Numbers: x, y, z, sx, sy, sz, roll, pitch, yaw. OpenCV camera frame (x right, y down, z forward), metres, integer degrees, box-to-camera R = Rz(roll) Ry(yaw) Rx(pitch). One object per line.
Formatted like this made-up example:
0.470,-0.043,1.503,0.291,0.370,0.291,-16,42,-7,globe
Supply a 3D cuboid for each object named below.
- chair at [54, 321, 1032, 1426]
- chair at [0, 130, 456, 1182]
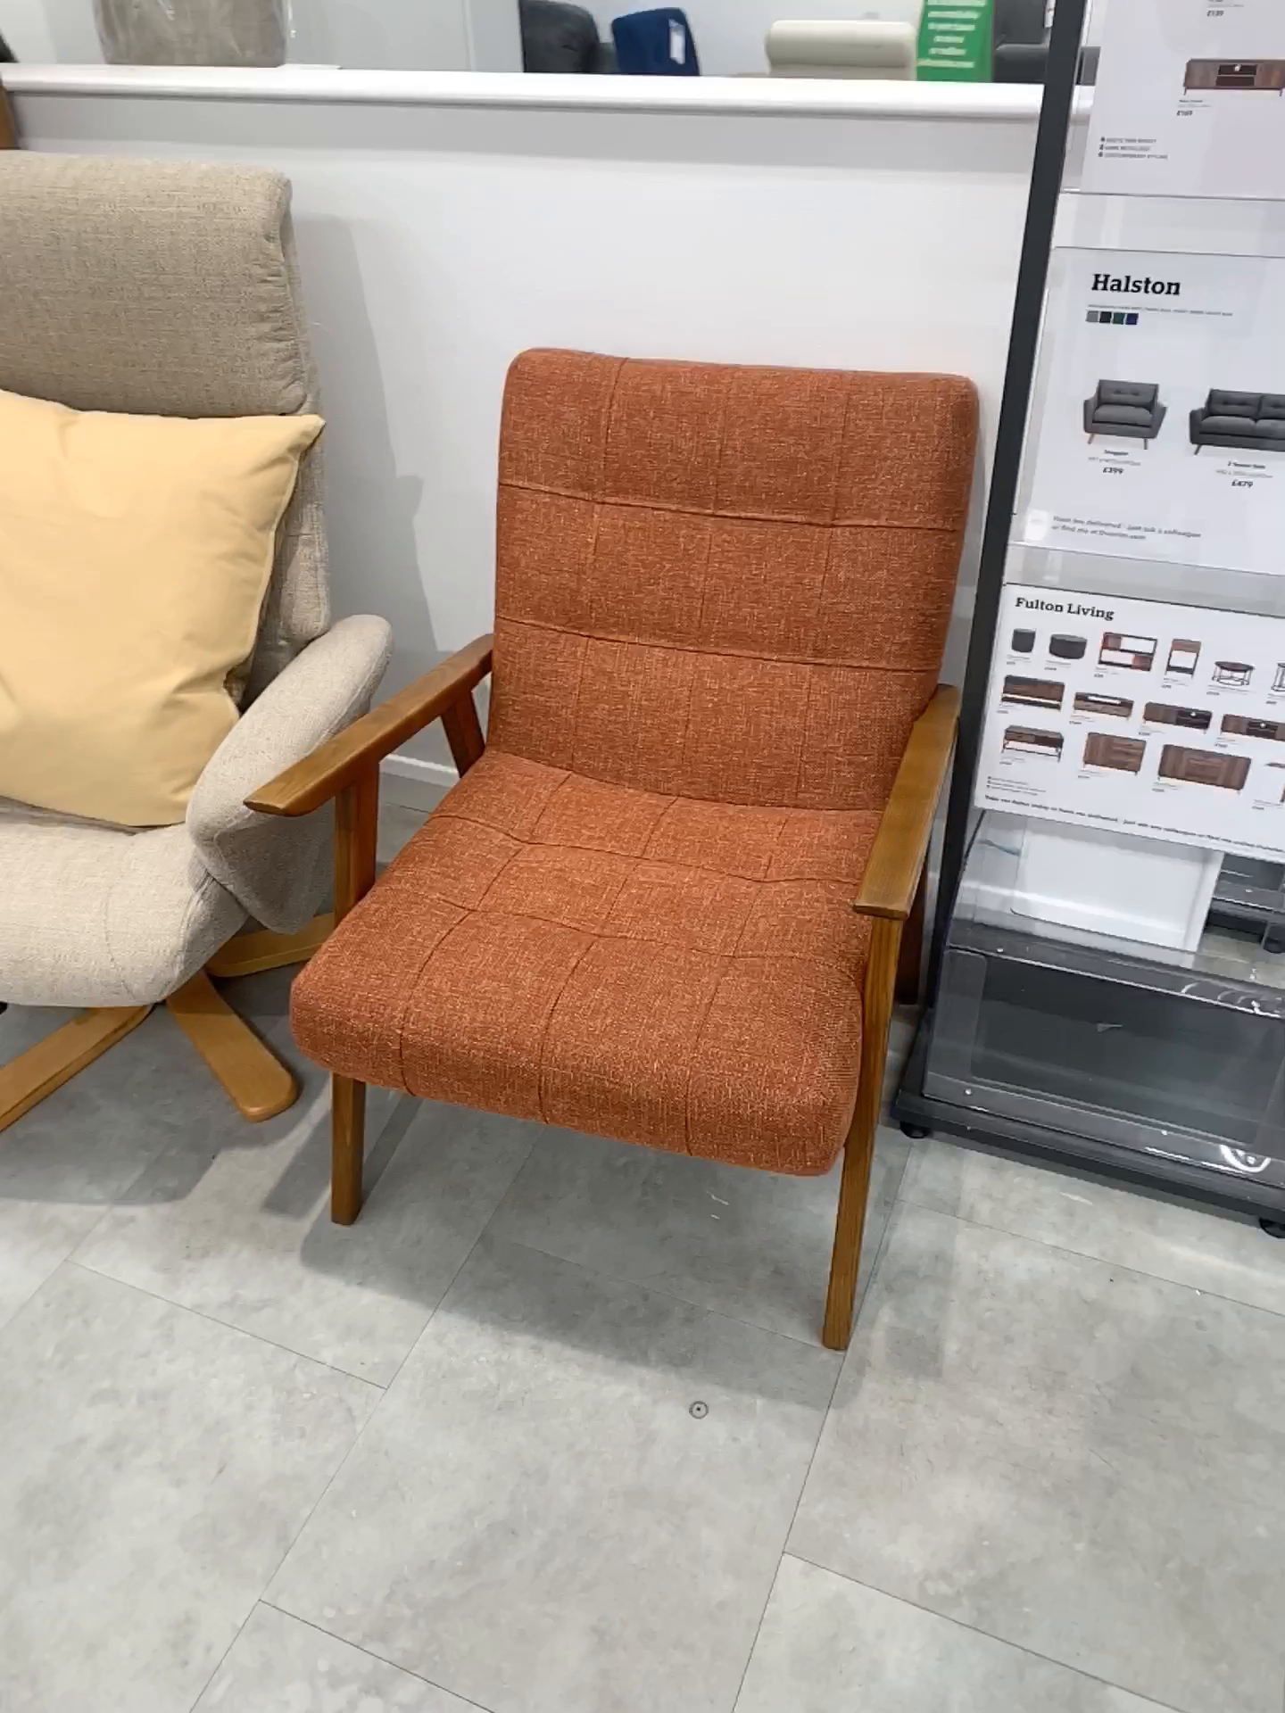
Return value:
-0.010,-0.023,1.455,0.688,0.884,0.705,9,38,15,chair
-0.709,-0.244,1.579,0.697,1.013,0.686,3,37,8,chair
